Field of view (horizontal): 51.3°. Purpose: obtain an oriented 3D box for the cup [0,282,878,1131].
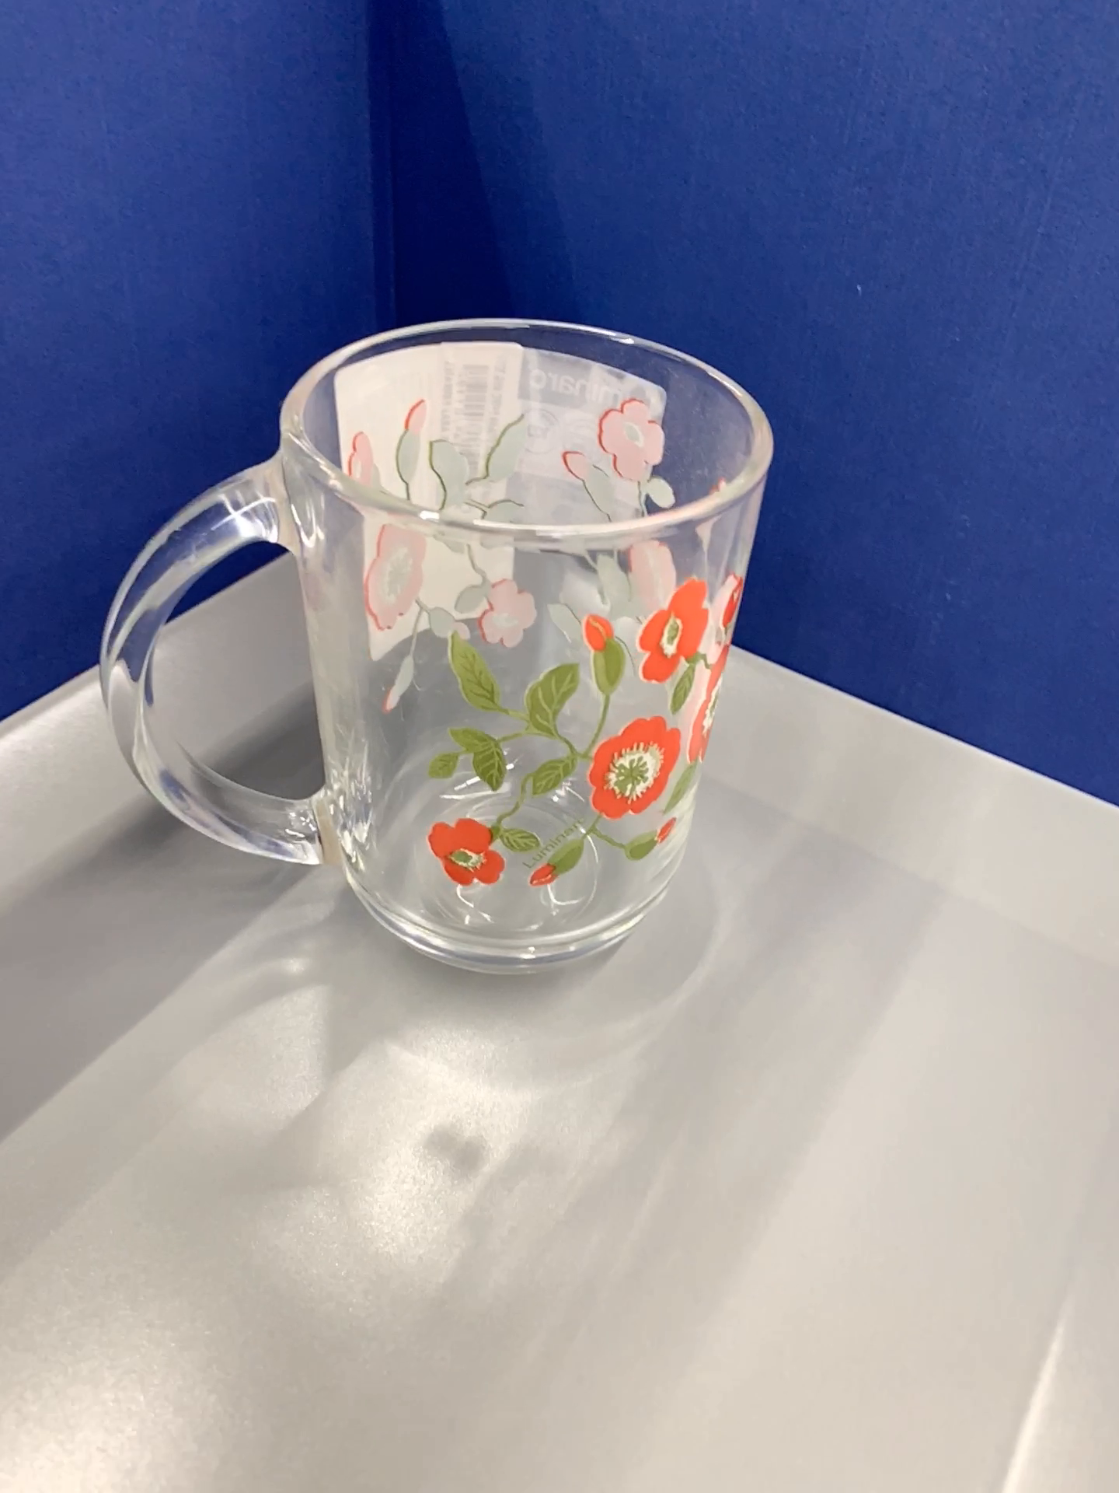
[{"bbox_3d":[-0.028,-0.014,0.208,0.114,0.104,0.088,-10,40,-18],"label":"cup"}]
